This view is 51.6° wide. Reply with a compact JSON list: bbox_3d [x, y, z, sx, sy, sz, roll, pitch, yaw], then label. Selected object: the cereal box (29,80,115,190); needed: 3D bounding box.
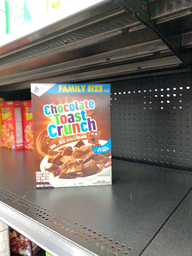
[{"bbox_3d":[-0.069,0.017,0.627,0.240,0.320,0.070,-3,5,-6],"label":"cereal box"}]
